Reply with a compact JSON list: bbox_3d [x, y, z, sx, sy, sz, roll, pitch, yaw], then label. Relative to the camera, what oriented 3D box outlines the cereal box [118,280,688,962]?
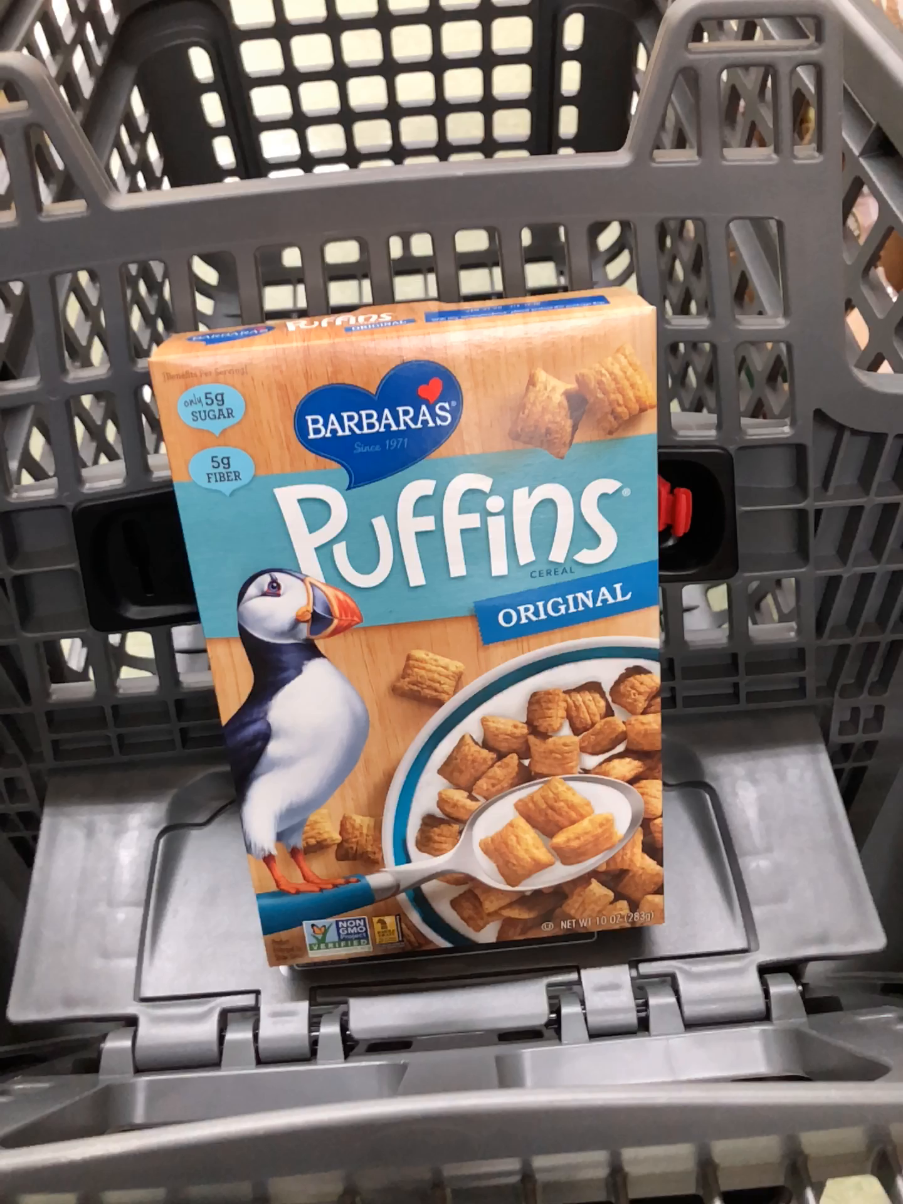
[{"bbox_3d":[-0.006,0.016,0.404,0.190,0.260,0.050,-6,22,-1],"label":"cereal box"}]
